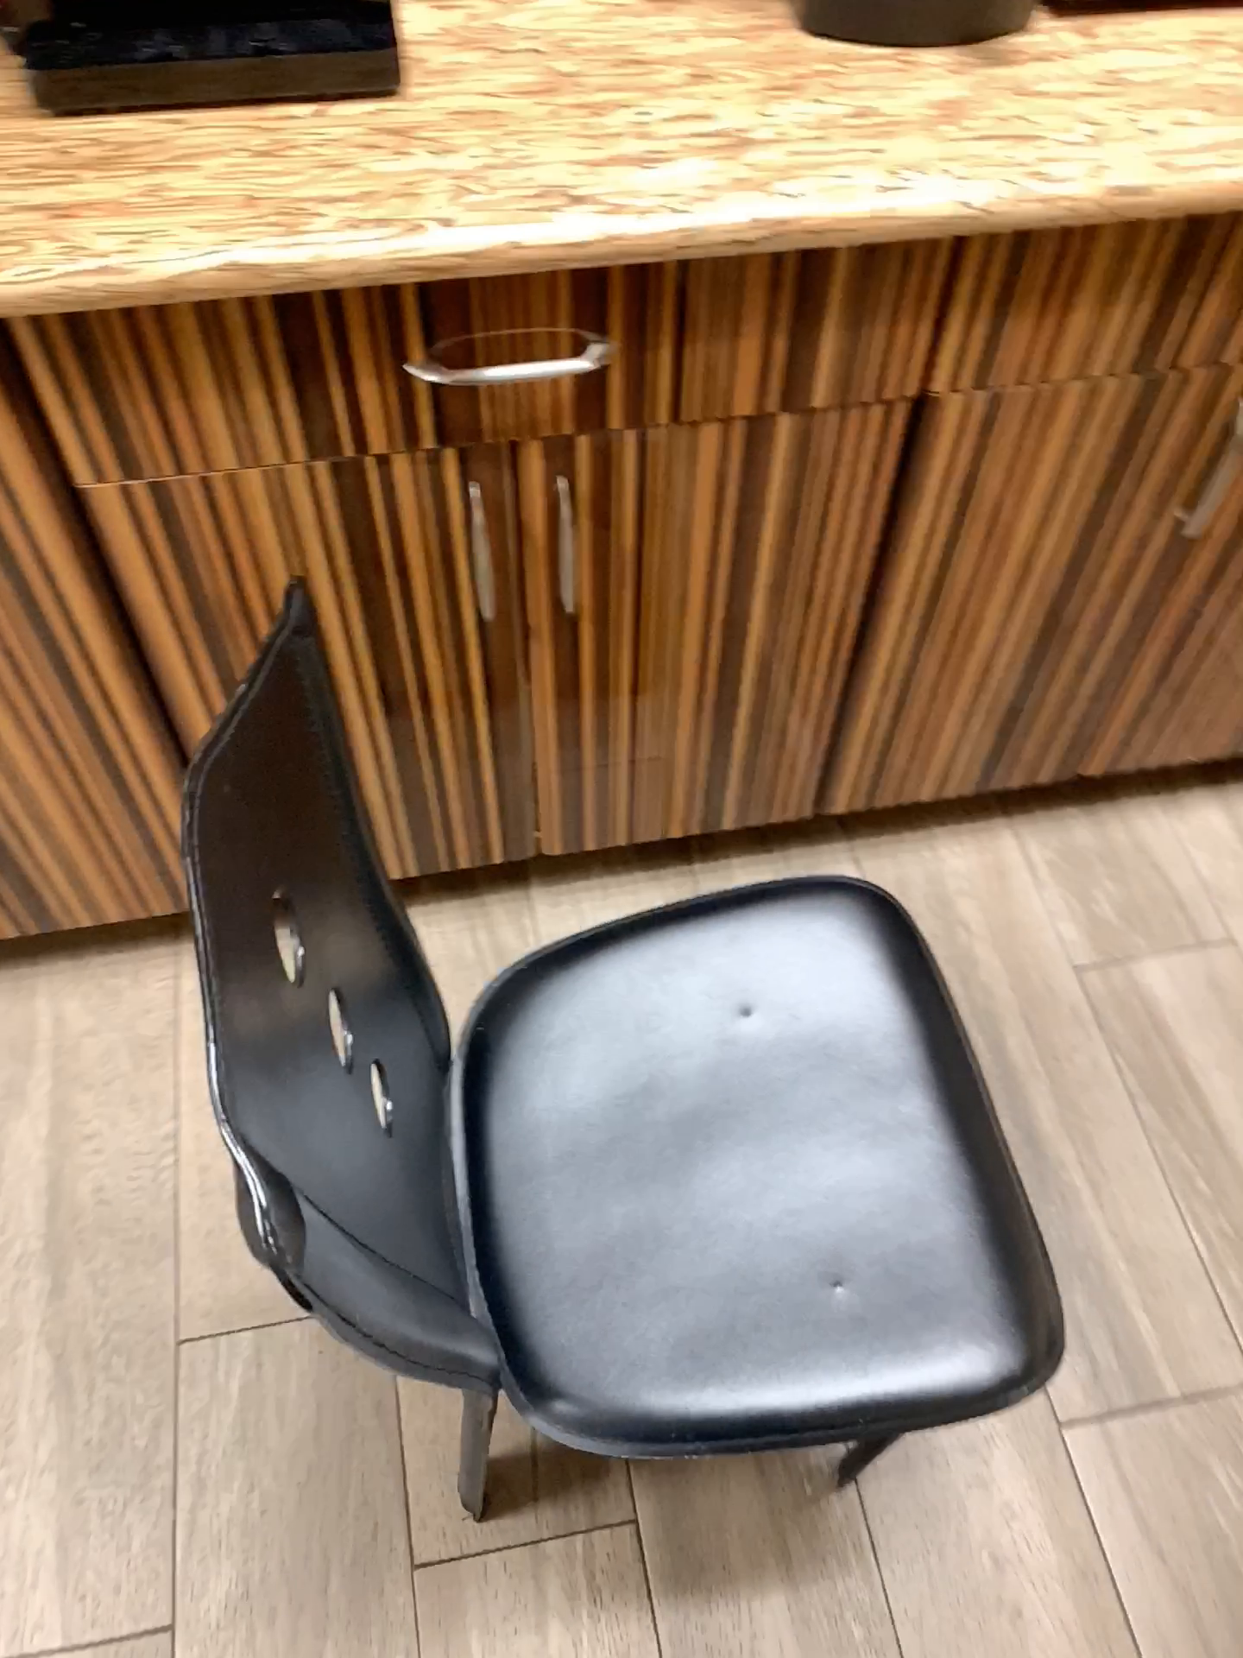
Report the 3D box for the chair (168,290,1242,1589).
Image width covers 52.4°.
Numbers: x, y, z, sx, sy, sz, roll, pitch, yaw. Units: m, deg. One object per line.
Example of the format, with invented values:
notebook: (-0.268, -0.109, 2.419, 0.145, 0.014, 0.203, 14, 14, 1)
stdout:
chair: (0.046, 0.197, 0.908, 0.473, 0.943, 0.463, -8, 56, -7)
